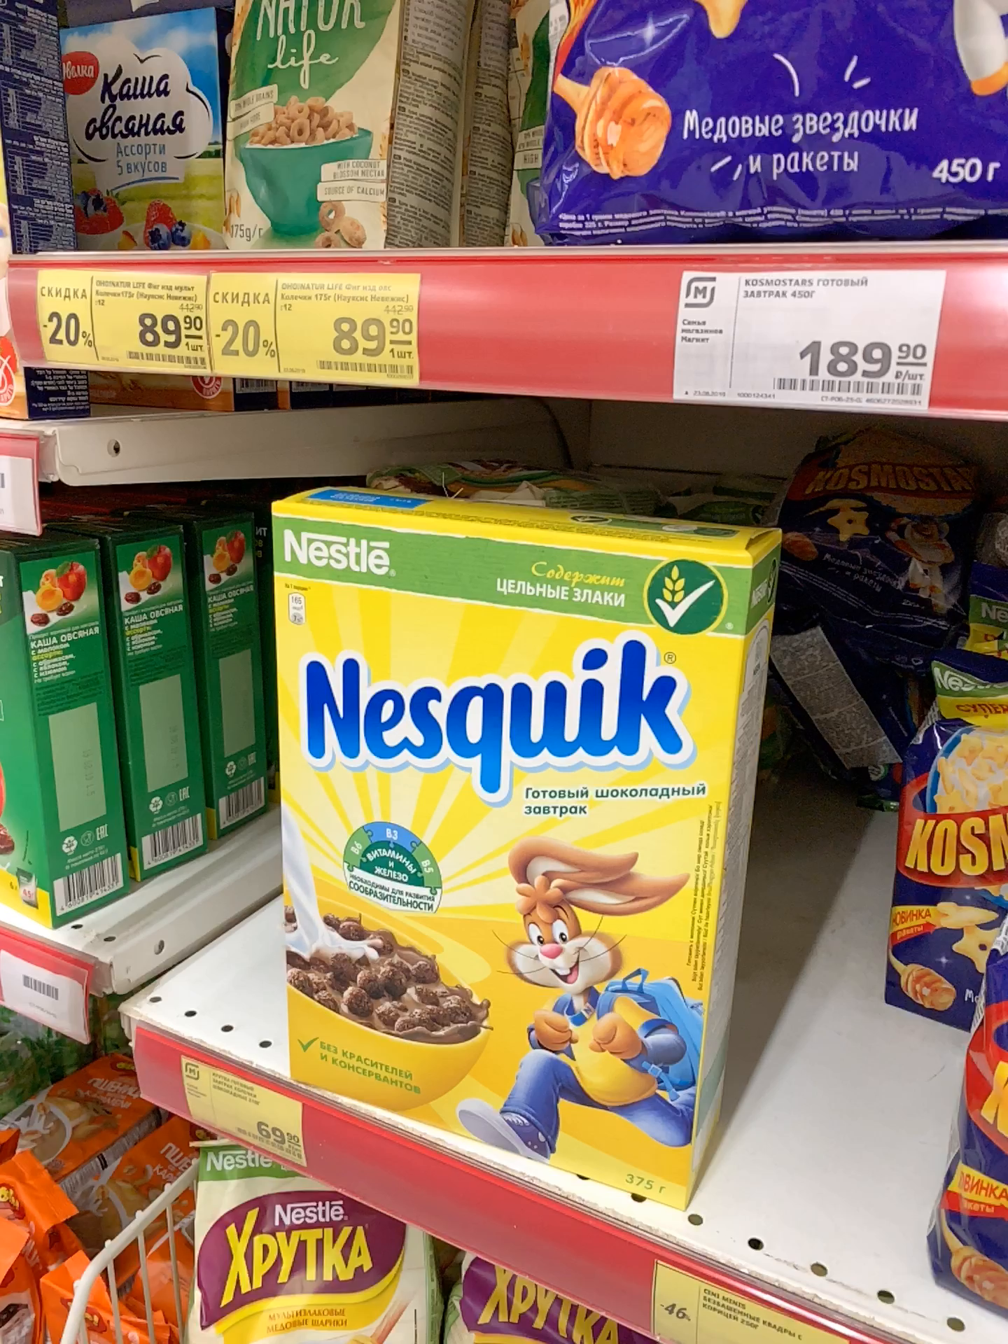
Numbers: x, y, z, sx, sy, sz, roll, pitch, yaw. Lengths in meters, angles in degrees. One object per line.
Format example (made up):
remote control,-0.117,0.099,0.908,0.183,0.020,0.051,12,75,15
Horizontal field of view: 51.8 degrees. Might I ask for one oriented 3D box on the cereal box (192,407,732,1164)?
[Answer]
cereal box,-0.020,0.038,0.418,0.190,0.268,0.060,9,19,22
